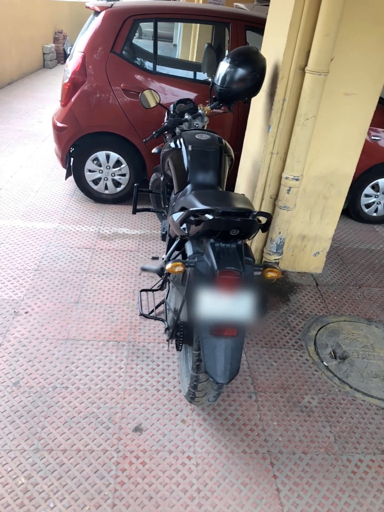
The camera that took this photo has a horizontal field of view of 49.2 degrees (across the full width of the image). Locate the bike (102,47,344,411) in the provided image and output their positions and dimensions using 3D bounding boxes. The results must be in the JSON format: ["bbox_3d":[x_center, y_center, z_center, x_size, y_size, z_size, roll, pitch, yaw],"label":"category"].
[{"bbox_3d":[-0.111,-0.326,2.179,0.610,1.051,1.809,0,33,-14],"label":"bike"}]
